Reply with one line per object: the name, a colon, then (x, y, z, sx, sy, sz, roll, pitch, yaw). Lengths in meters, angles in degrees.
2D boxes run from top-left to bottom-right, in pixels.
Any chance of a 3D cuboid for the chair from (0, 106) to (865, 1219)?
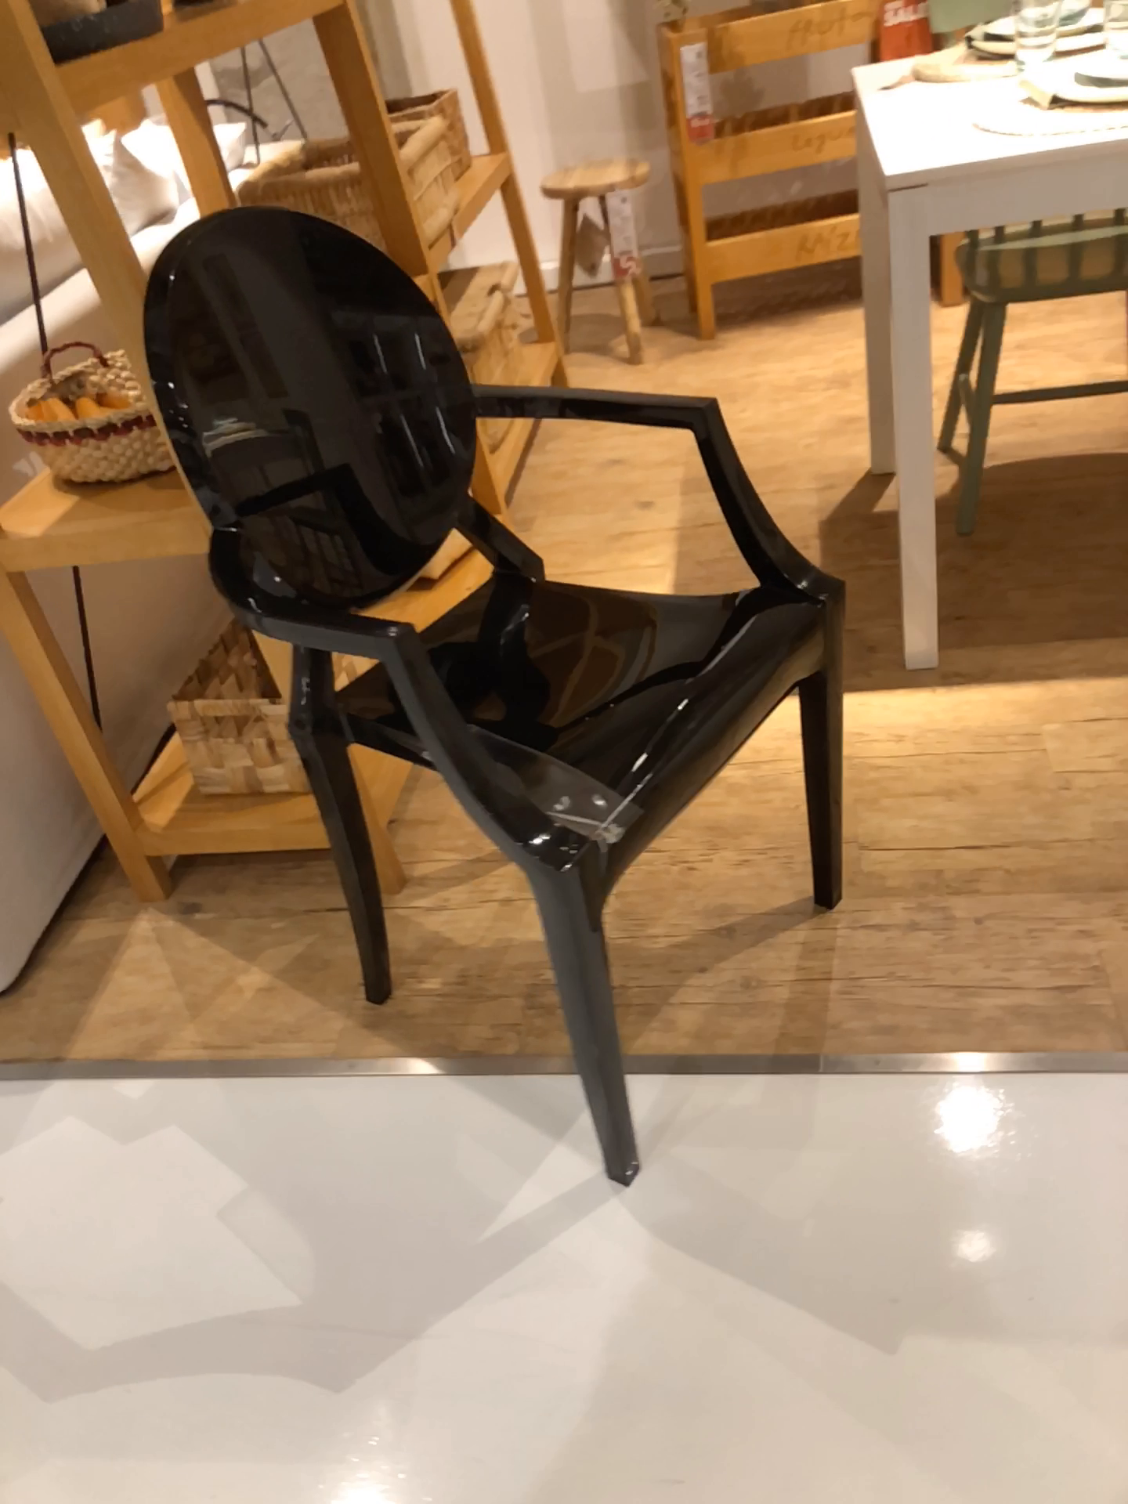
chair: (-0.076, -0.105, 1.323, 0.591, 0.903, 0.543, 12, 41, 31)
